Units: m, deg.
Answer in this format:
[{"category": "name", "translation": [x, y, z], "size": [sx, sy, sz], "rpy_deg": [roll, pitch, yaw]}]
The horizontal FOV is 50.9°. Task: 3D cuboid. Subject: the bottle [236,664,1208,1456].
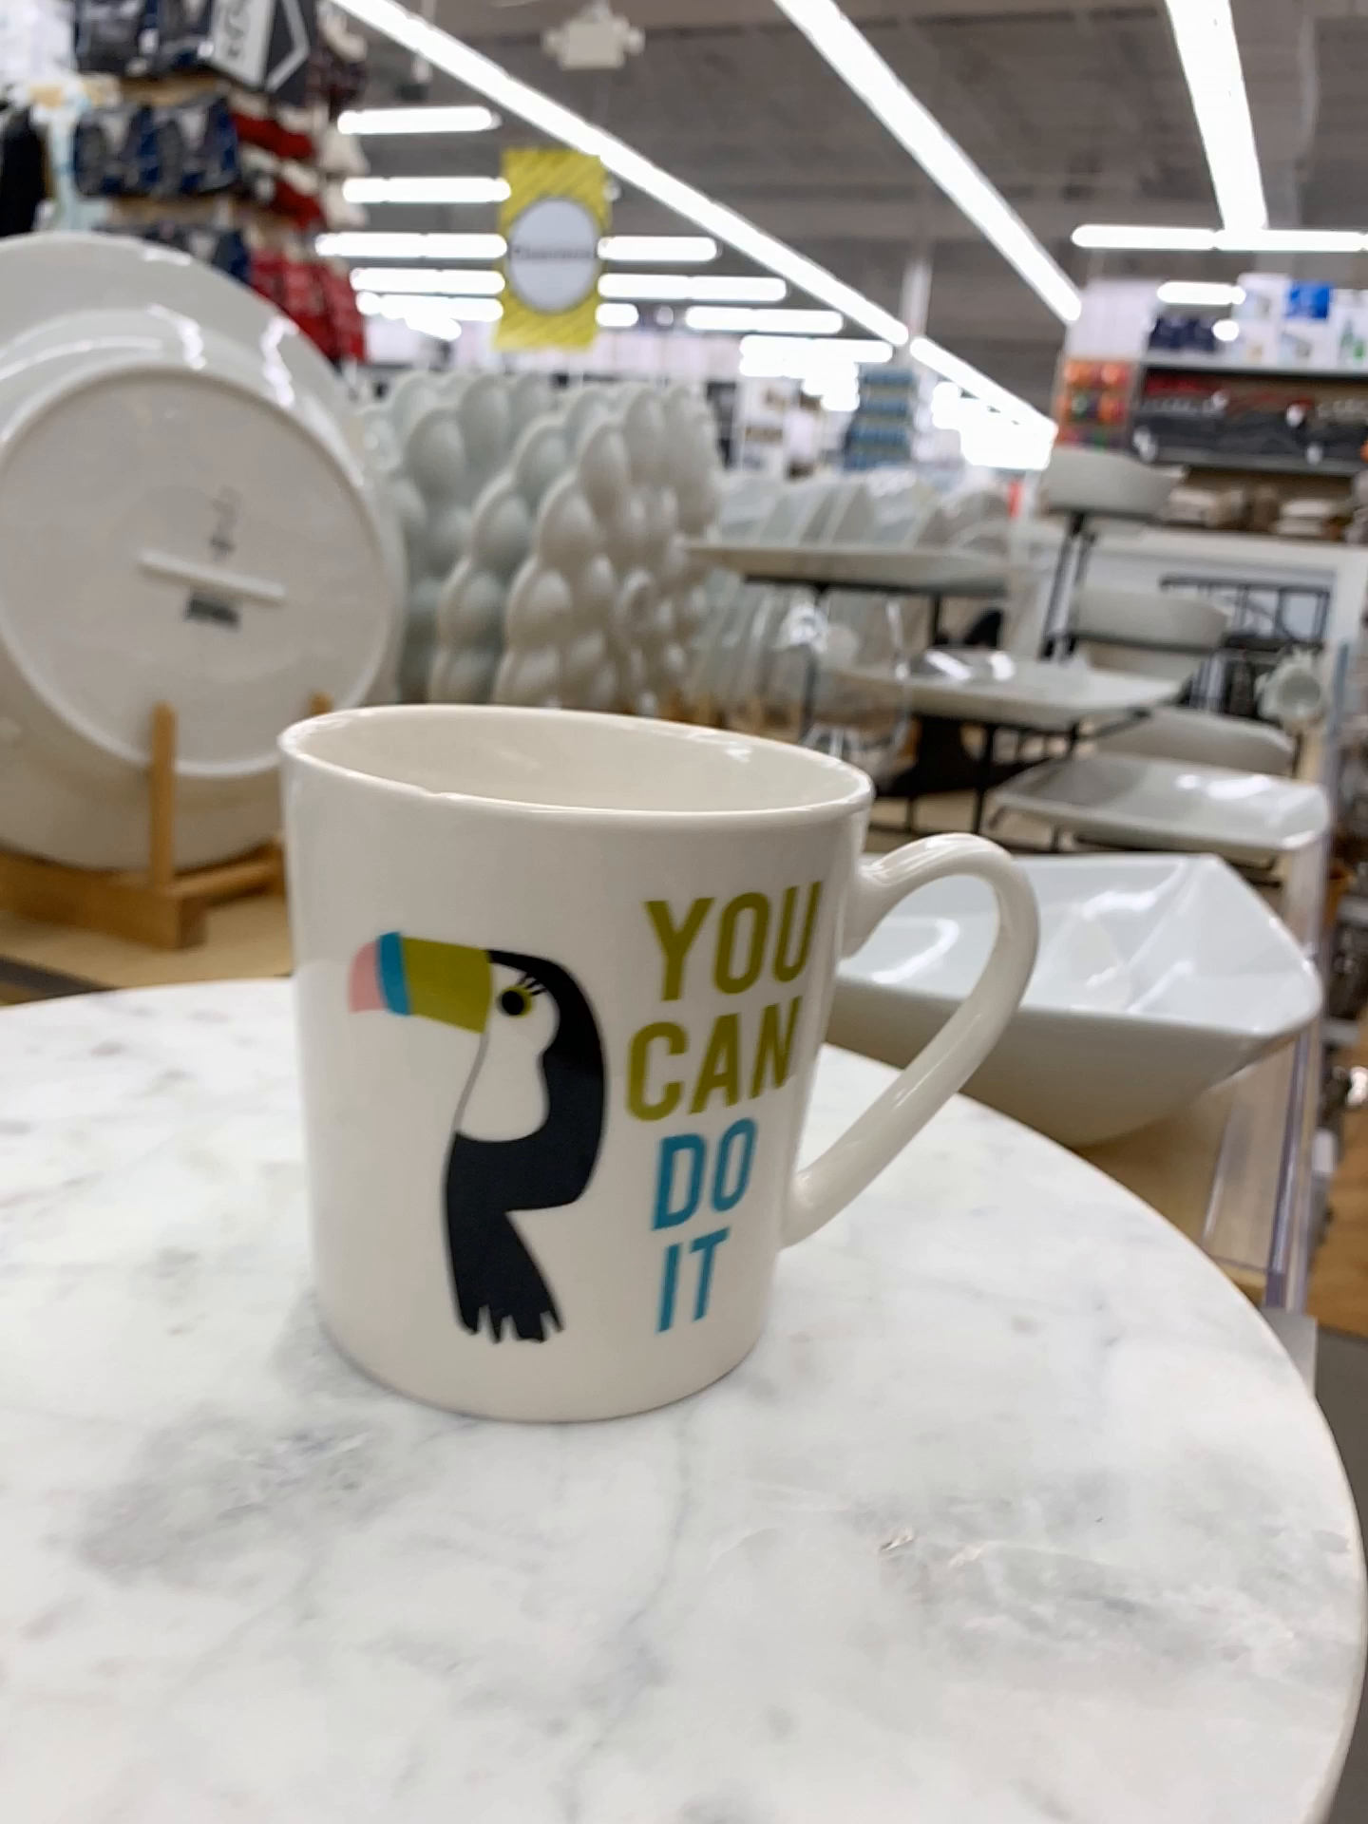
[{"category": "bottle", "translation": [-0.004, 0.019, 0.269], "size": [0.143, 0.107, 0.104], "rpy_deg": [2, 15, -14]}]
